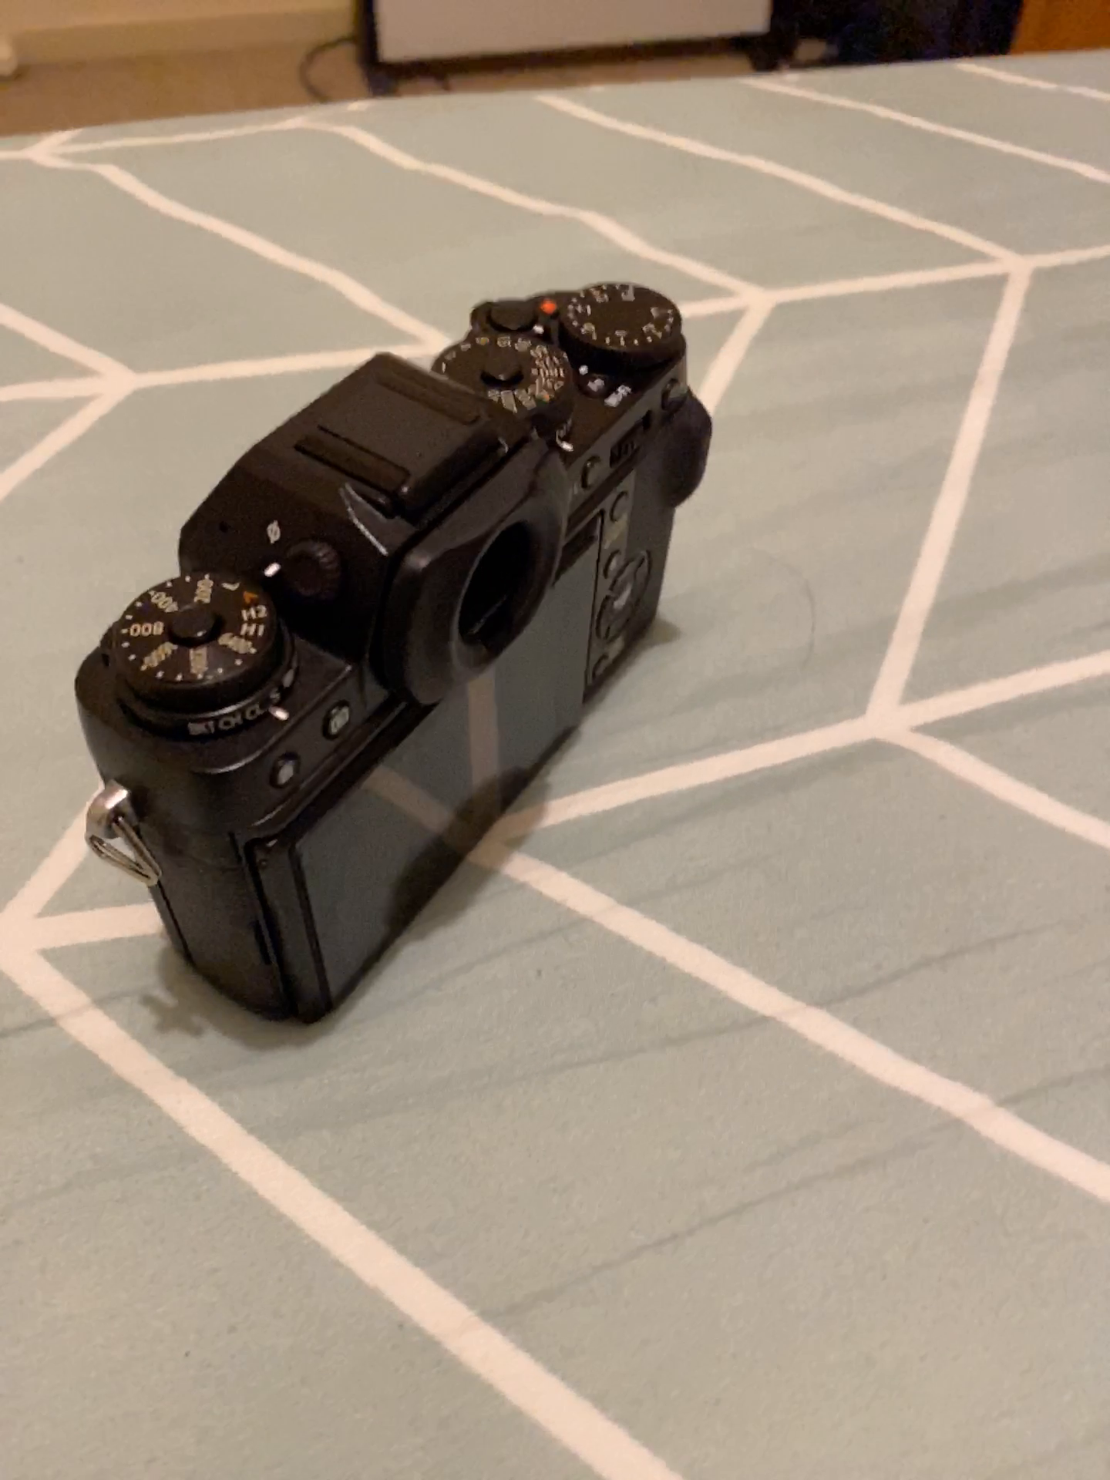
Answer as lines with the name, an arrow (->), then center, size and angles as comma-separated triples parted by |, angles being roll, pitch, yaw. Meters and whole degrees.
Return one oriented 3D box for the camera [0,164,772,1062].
camera -> -0.022, -0.026, 0.204 | 0.051, 0.087, 0.130 | 28, 55, 19
